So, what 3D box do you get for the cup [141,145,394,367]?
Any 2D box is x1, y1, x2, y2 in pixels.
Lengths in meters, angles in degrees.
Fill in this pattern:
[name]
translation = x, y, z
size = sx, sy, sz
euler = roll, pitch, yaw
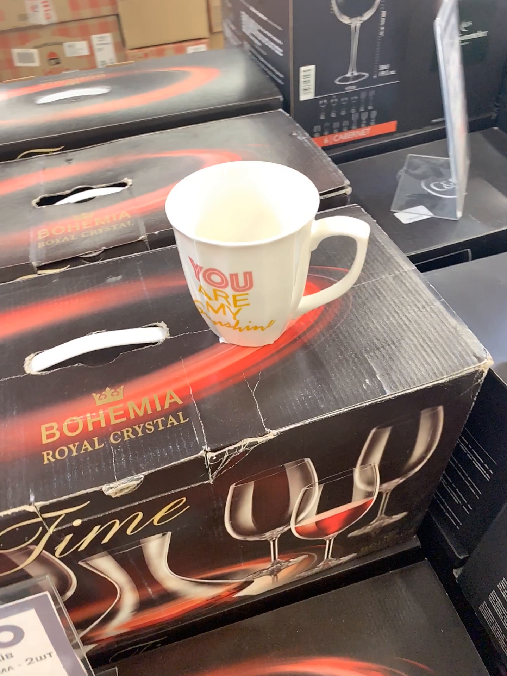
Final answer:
[cup]
translation = 0.013, -0.052, 0.312
size = 0.120, 0.080, 0.090
euler = 9, 47, 11
